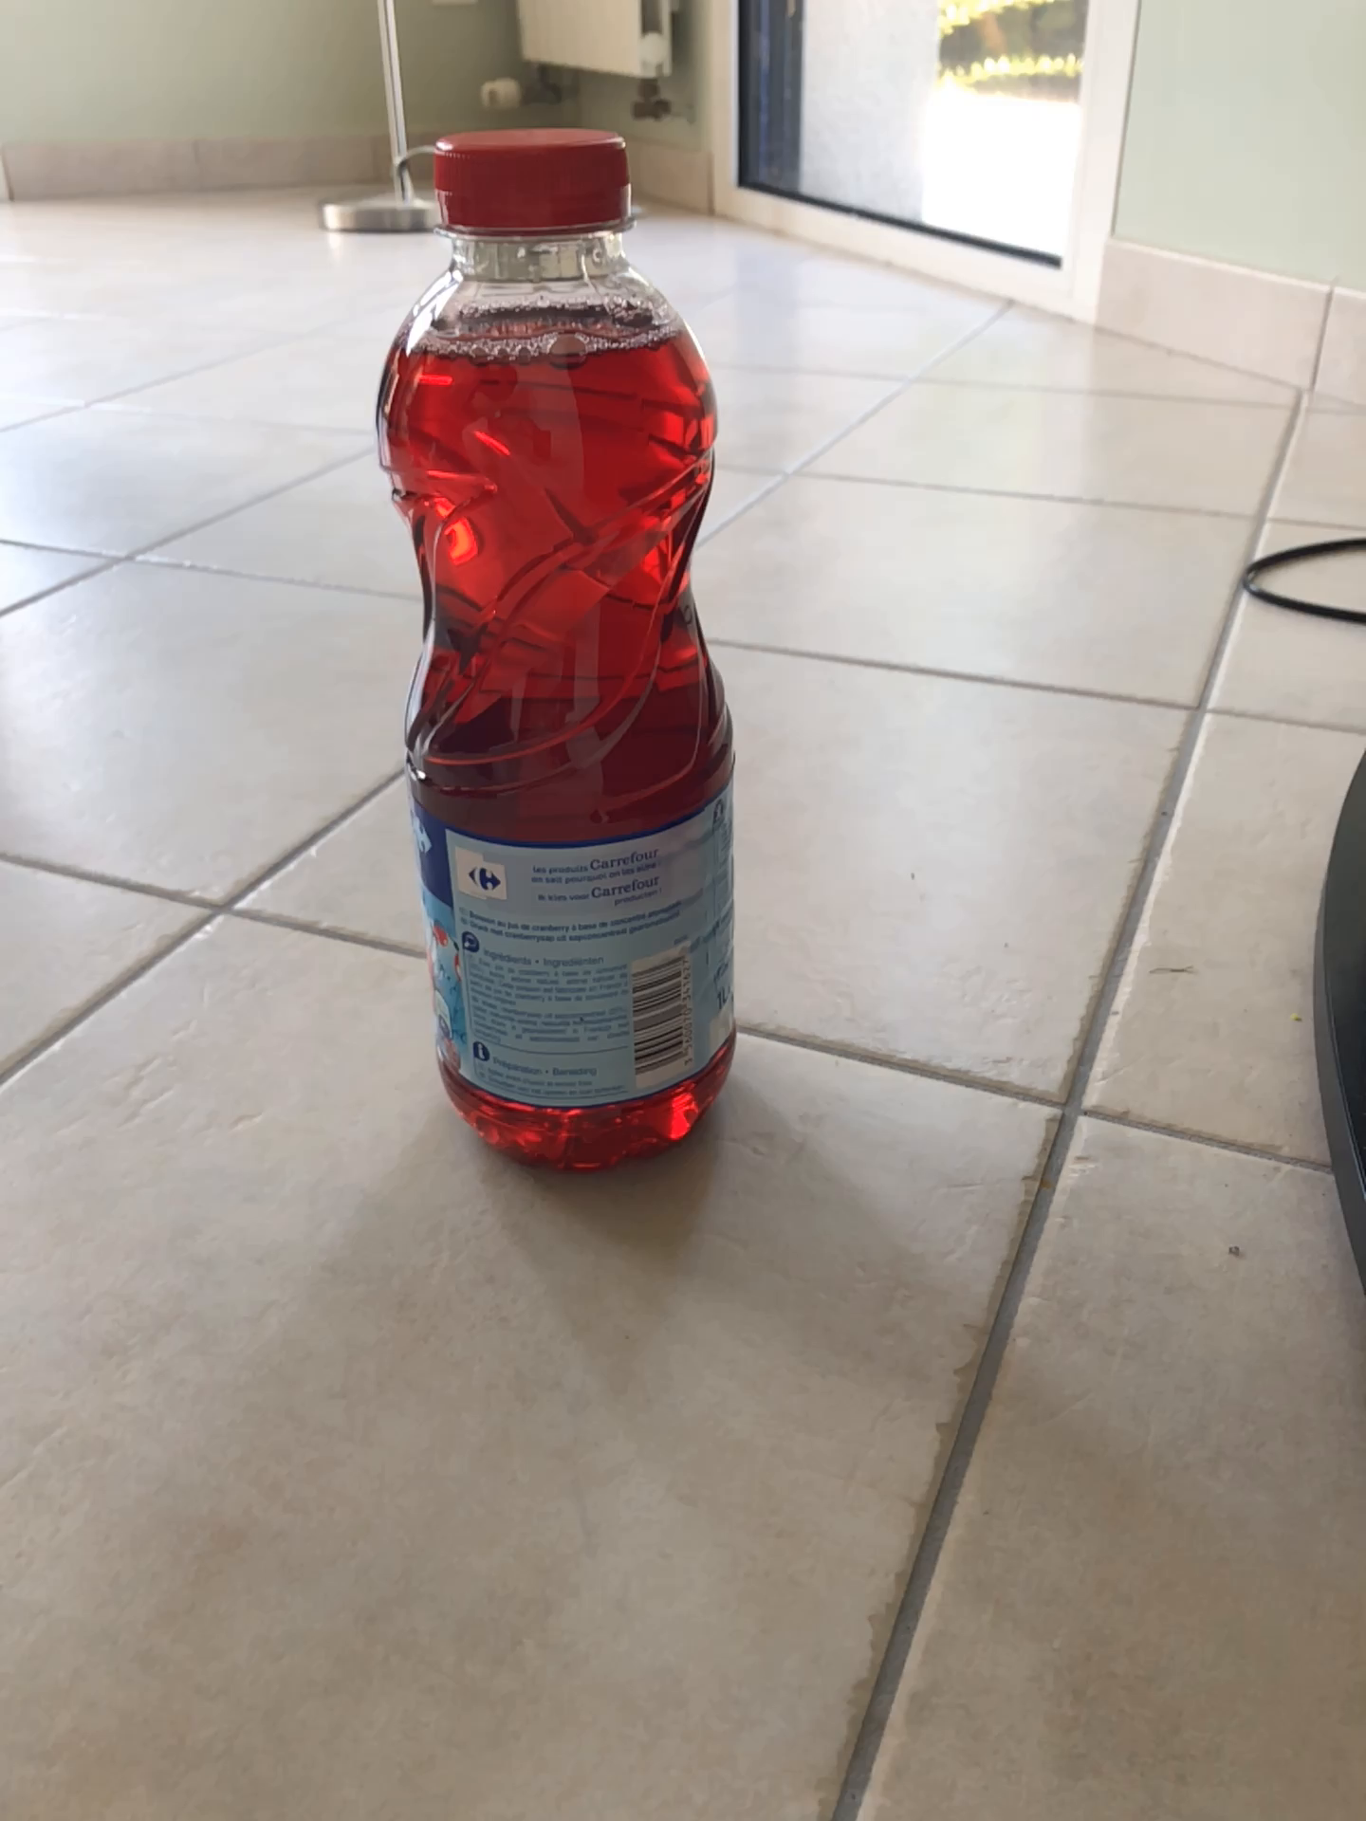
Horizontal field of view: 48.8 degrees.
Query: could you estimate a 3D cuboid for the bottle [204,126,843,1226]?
[{"bbox_3d":[-0.027,-0.055,0.370,0.100,0.239,0.091,12,33,20],"label":"bottle"}]
